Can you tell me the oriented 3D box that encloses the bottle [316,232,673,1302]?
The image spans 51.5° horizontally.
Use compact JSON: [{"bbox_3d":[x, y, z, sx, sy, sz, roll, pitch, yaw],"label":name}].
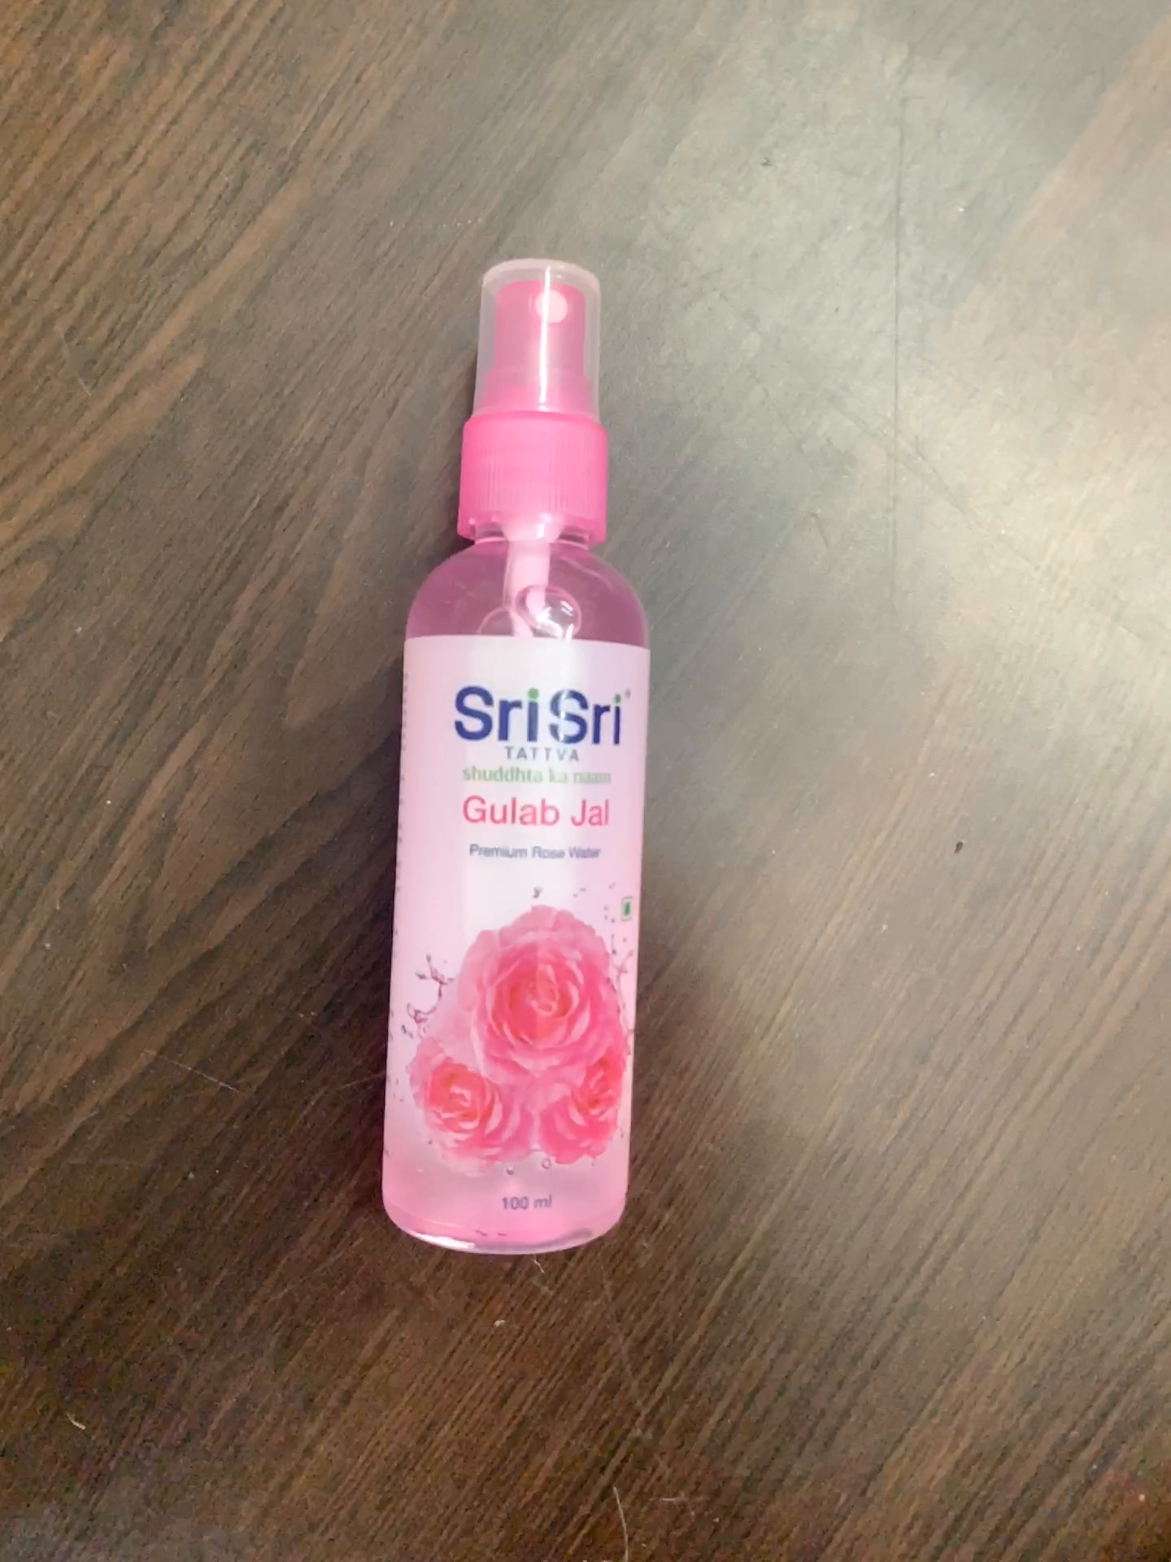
[{"bbox_3d":[-0.013,-0.001,0.181,0.040,0.040,0.140,3,92,-3],"label":"bottle"}]
